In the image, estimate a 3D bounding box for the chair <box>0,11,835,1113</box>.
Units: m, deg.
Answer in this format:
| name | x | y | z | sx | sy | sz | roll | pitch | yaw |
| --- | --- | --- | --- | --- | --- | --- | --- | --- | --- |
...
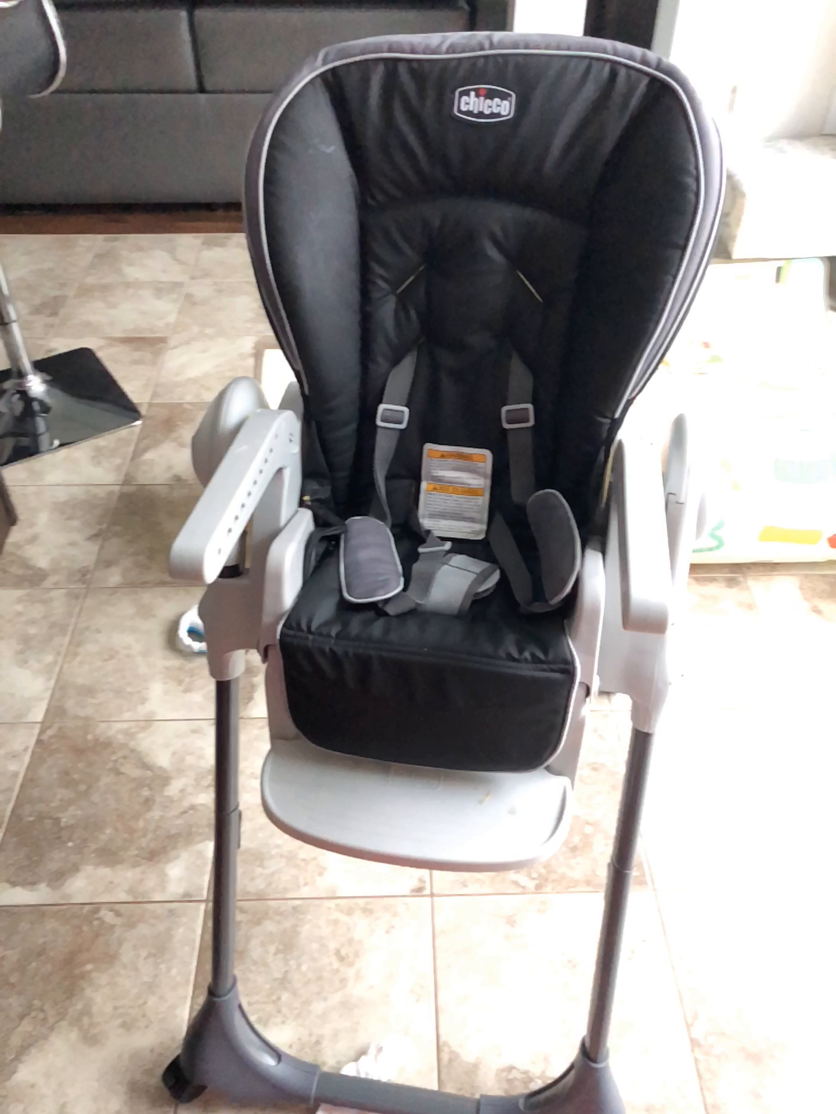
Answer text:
| name | x | y | z | sx | sy | sz | roll | pitch | yaw |
| --- | --- | --- | --- | --- | --- | --- | --- | --- | --- |
| chair | 0.004 | 0.051 | 1.061 | 0.650 | 0.996 | 0.883 | 6 | 43 | 6 |
